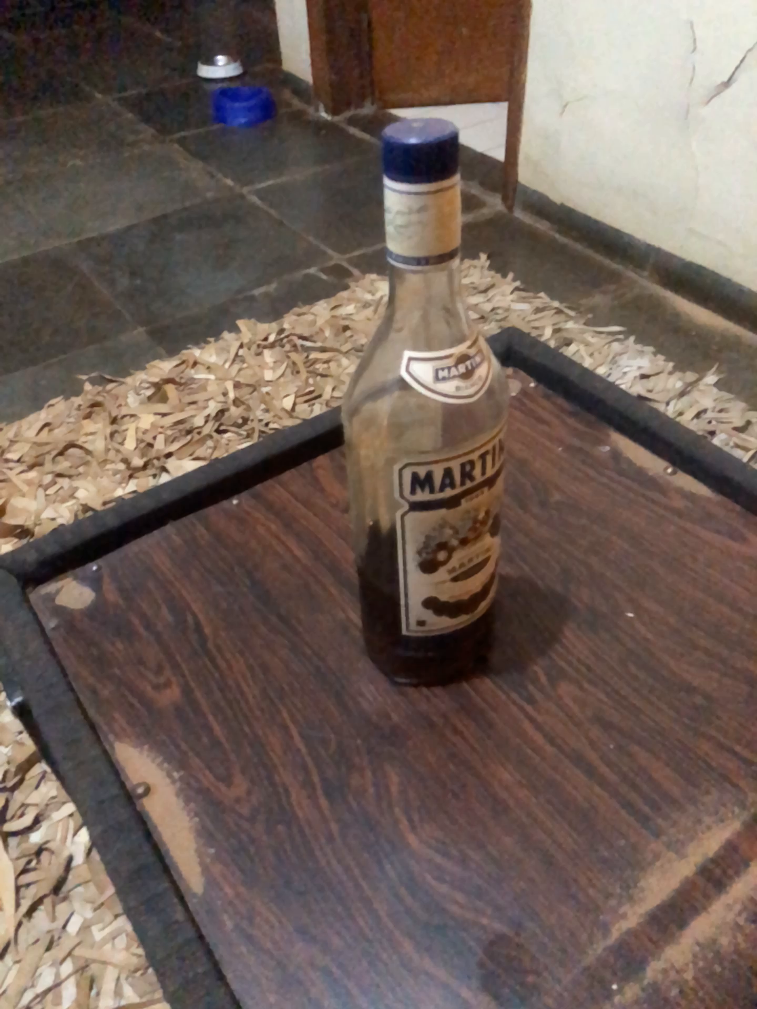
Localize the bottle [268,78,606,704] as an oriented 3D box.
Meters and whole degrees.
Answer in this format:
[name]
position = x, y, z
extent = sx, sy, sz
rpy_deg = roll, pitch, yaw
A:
[bottle]
position = 0.026, -0.038, 0.428
extent = 0.100, 0.298, 0.090
rpy_deg = -23, 46, -21
